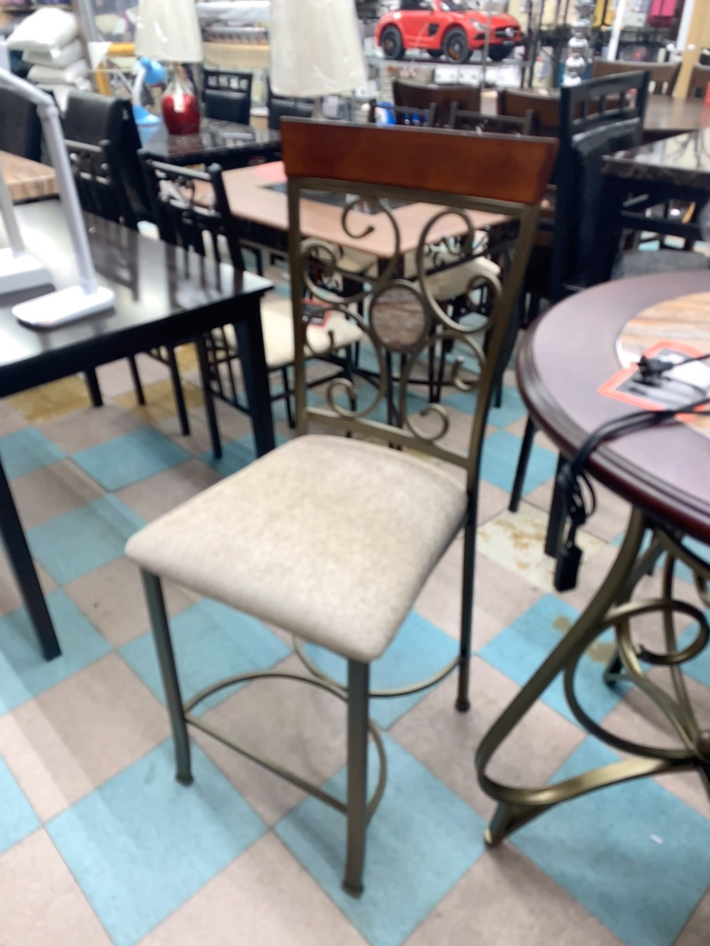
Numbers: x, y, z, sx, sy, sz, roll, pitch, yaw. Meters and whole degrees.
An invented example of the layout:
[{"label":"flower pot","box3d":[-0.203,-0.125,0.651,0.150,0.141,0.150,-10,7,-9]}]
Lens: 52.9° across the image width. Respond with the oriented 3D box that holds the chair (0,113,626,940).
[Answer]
[{"label":"chair","box3d":[-0.014,0.073,1.134,0.511,1.074,0.562,20,38,28]}]
